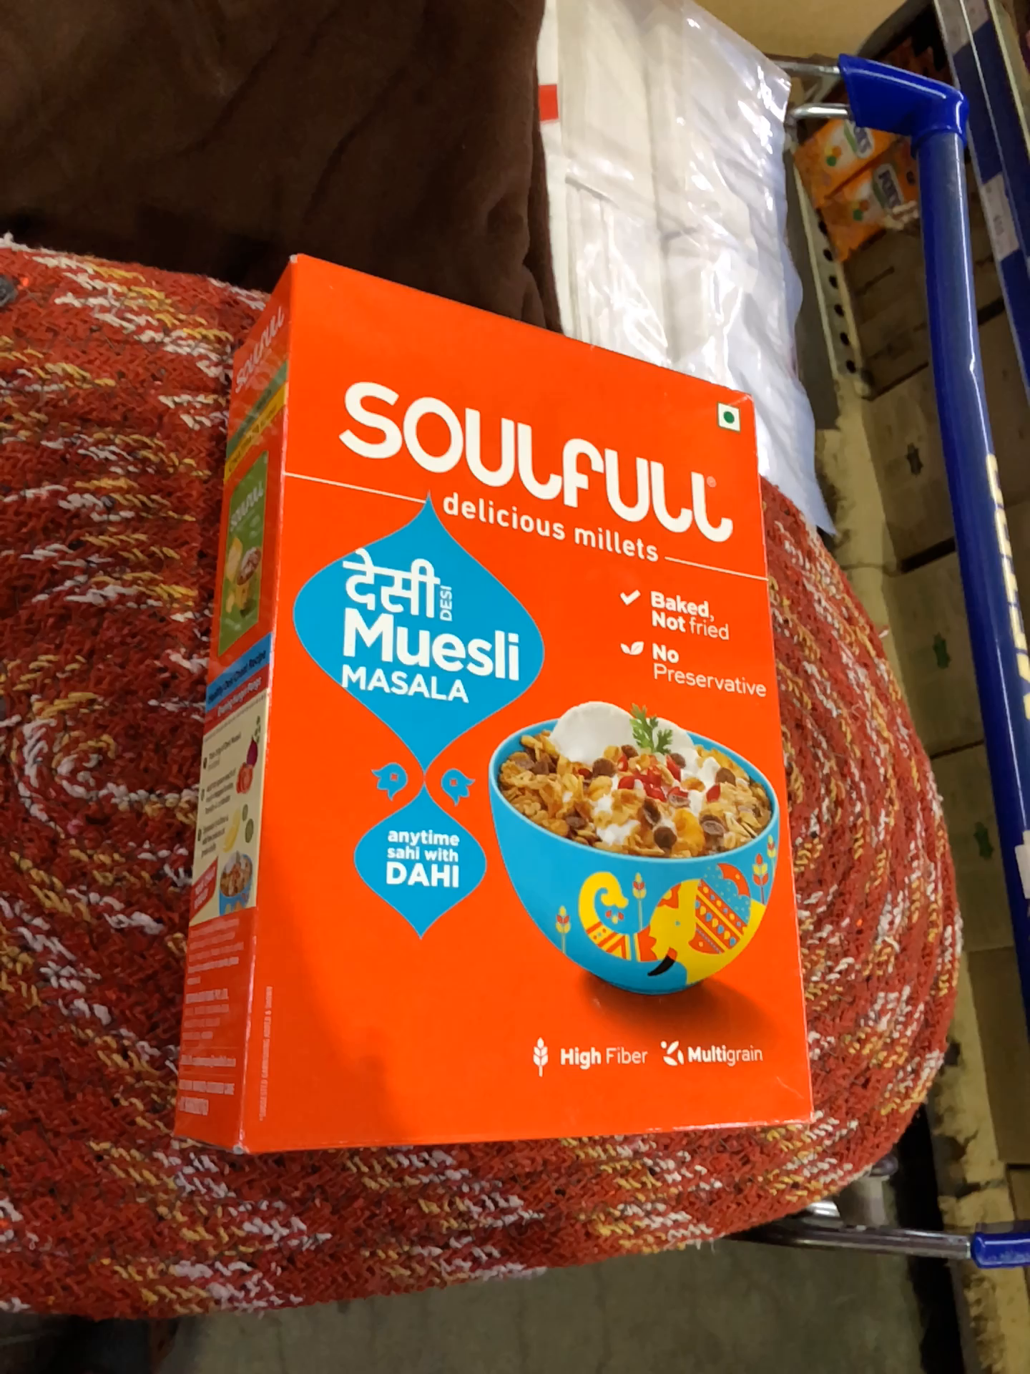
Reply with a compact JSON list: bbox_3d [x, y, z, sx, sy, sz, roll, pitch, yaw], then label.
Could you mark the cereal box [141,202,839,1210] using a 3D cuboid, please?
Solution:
[{"bbox_3d":[-0.006,0.005,0.348,0.180,0.060,0.261,7,70,-26],"label":"cereal box"}]
